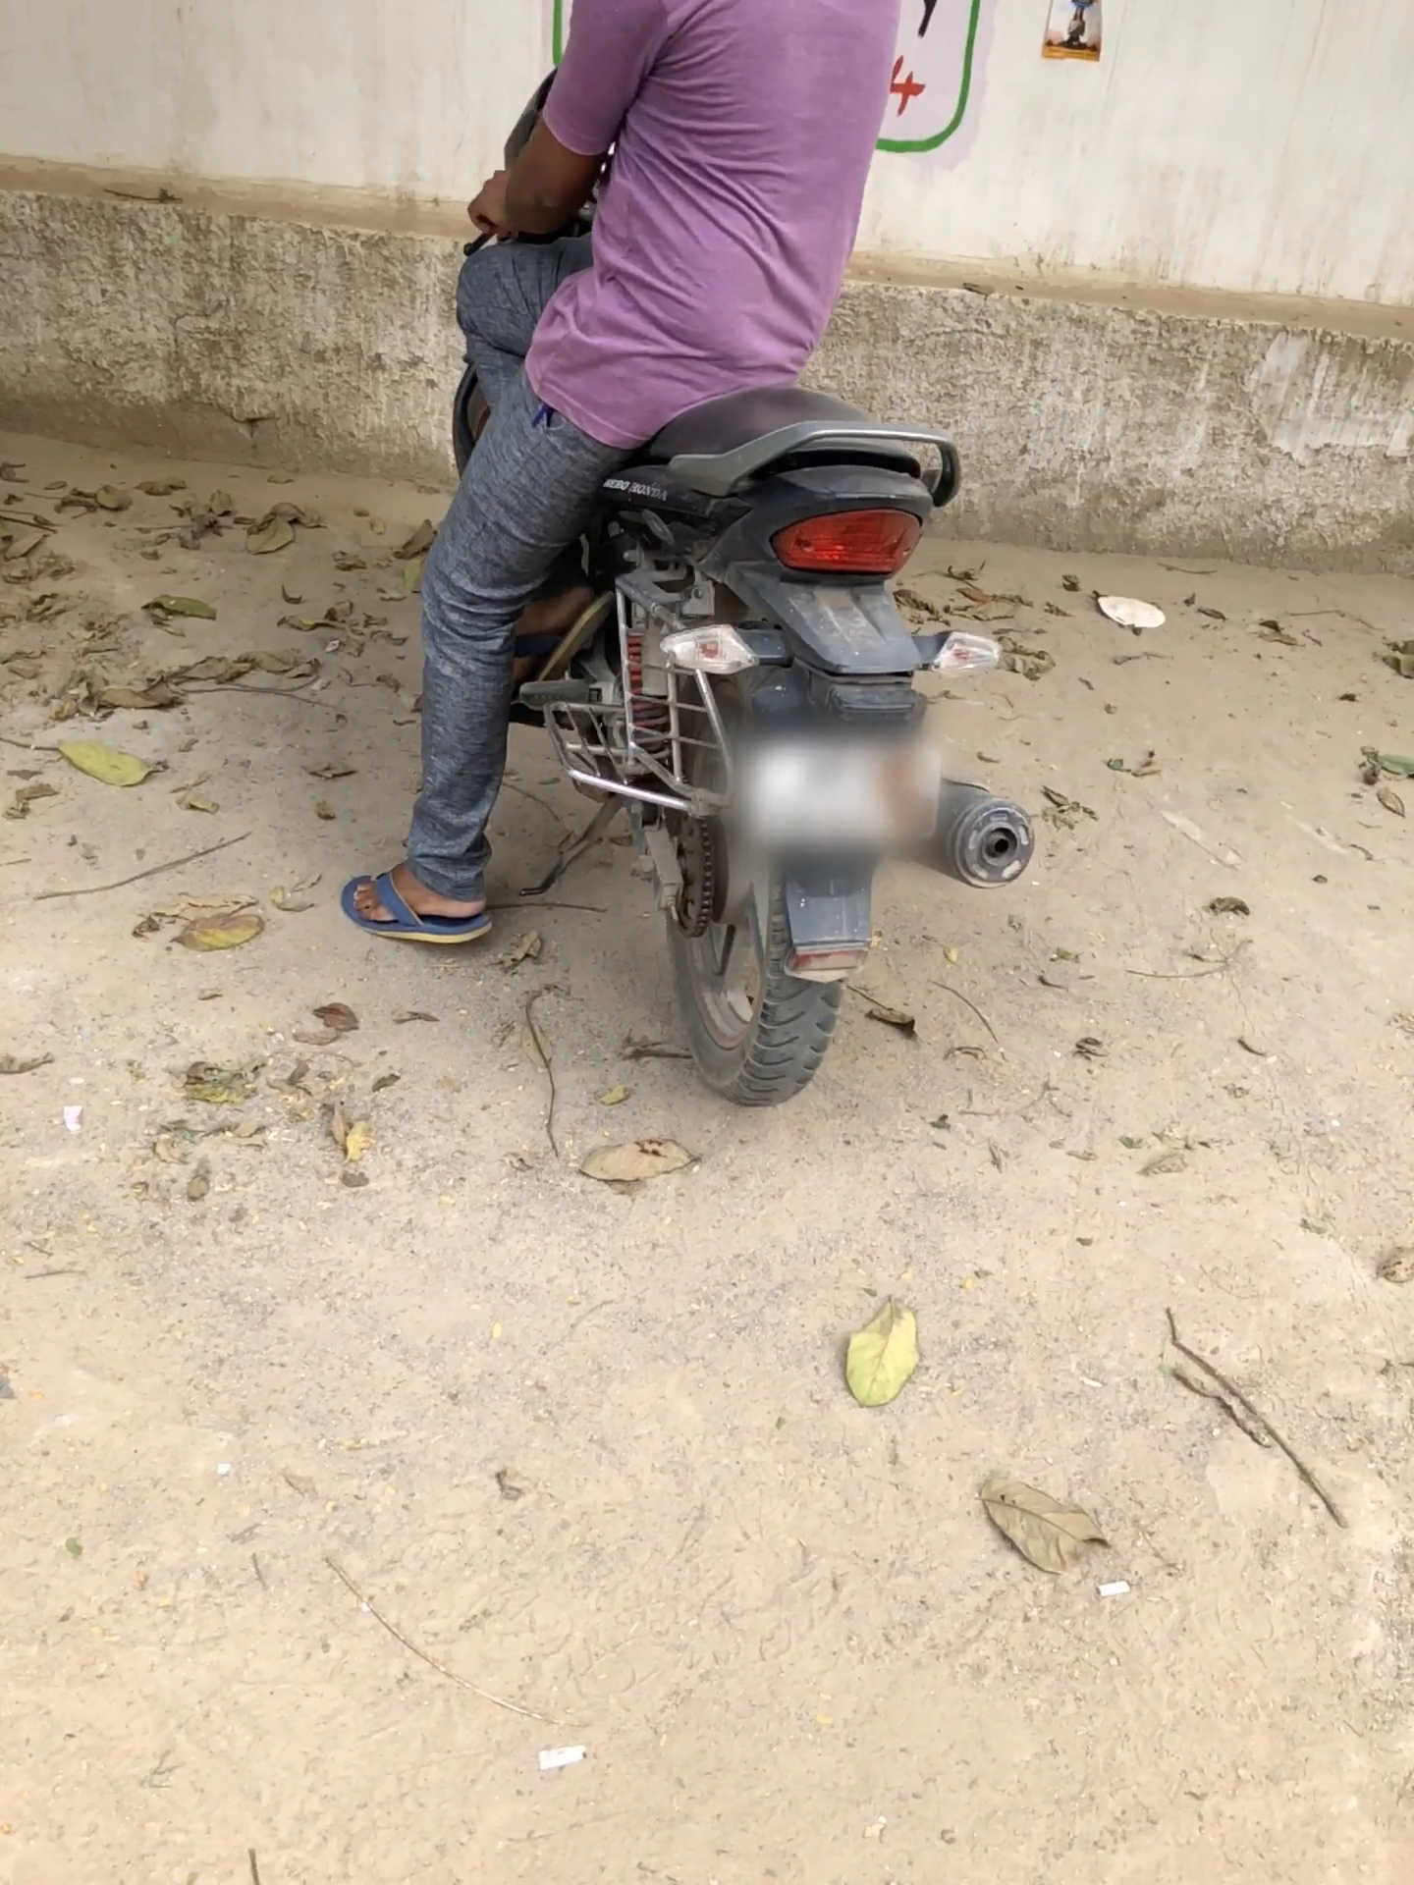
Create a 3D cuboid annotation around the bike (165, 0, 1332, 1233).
[{"bbox_3d":[-0.206,-0.733,2.295,0.825,1.189,1.846,-7,37,-20],"label":"bike"}]
